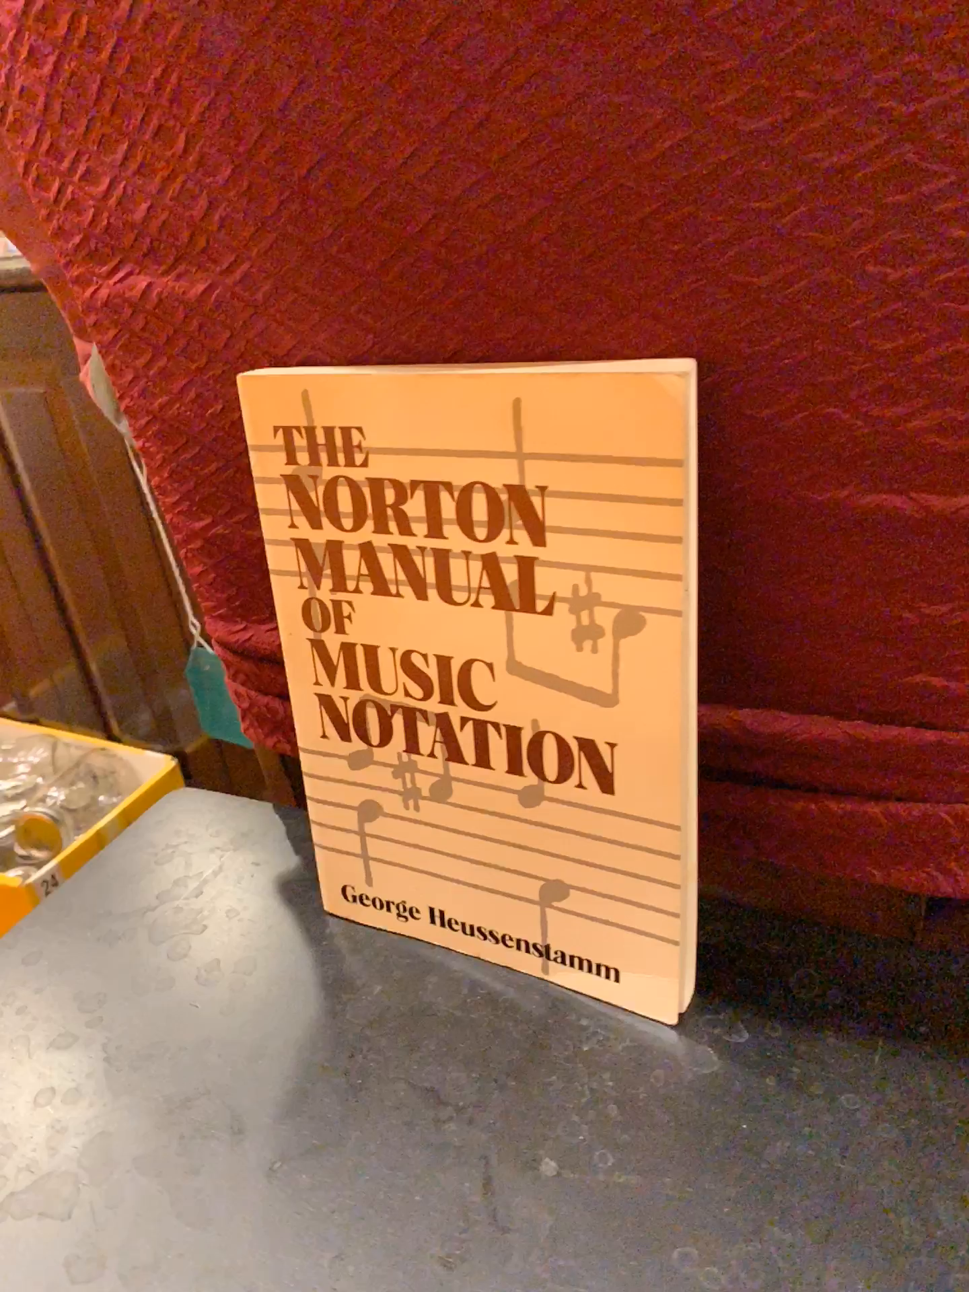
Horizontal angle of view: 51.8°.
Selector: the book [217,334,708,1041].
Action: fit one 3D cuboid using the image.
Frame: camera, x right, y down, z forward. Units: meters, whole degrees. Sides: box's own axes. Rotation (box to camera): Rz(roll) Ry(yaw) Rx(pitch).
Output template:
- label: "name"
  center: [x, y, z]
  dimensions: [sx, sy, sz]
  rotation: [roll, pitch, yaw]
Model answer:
- label: "book"
  center: [-0.005, 0.016, 0.393]
  dimensions: [0.180, 0.259, 0.030]
  rotation: [8, 25, 29]
